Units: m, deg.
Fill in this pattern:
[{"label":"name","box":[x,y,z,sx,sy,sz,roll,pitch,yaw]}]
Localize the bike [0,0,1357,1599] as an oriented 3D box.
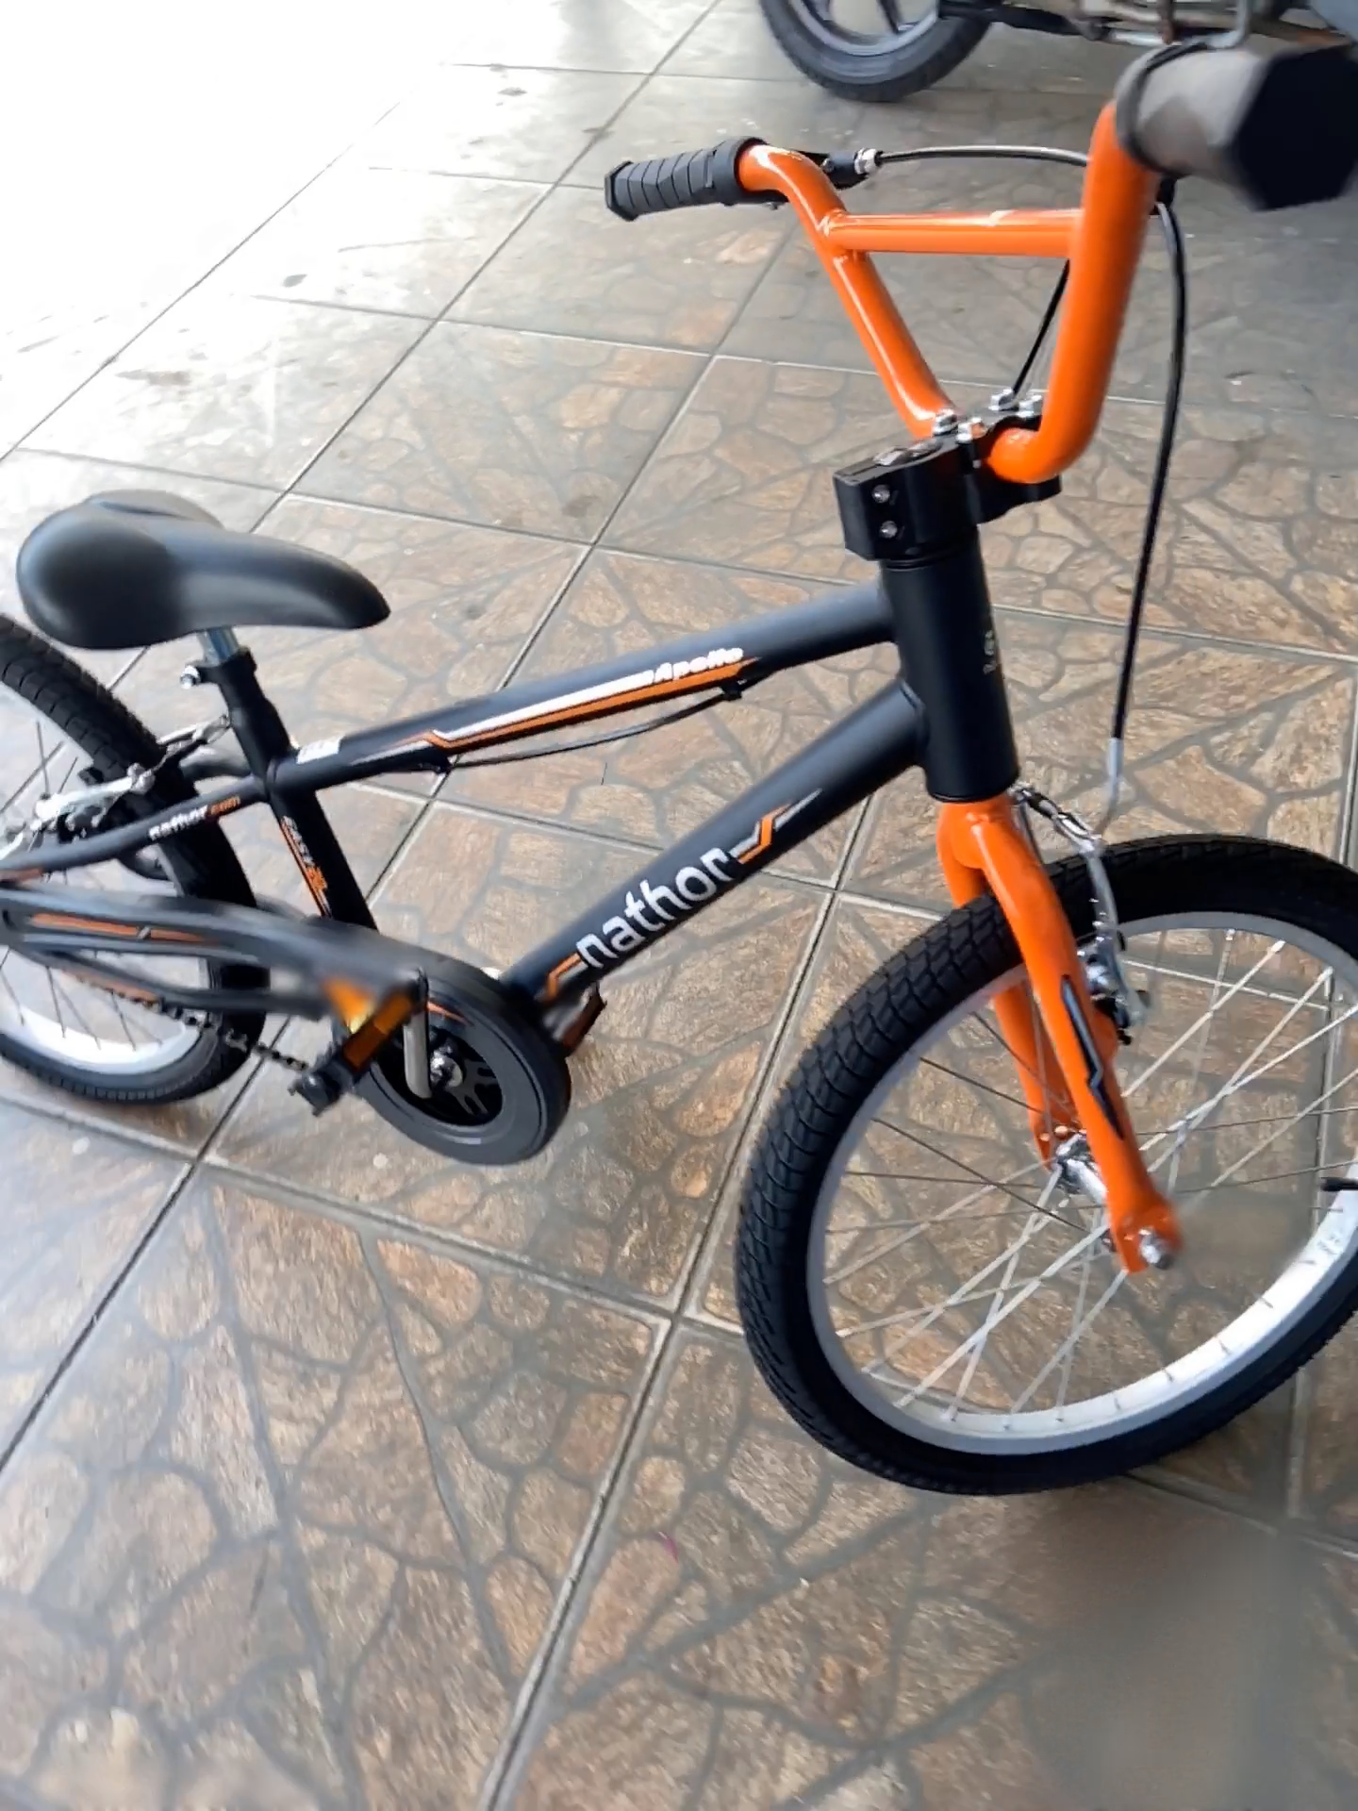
[{"label":"bike","box":[-0.142,-0.169,0.964,1.349,0.979,0.726,9,53,11]}]
